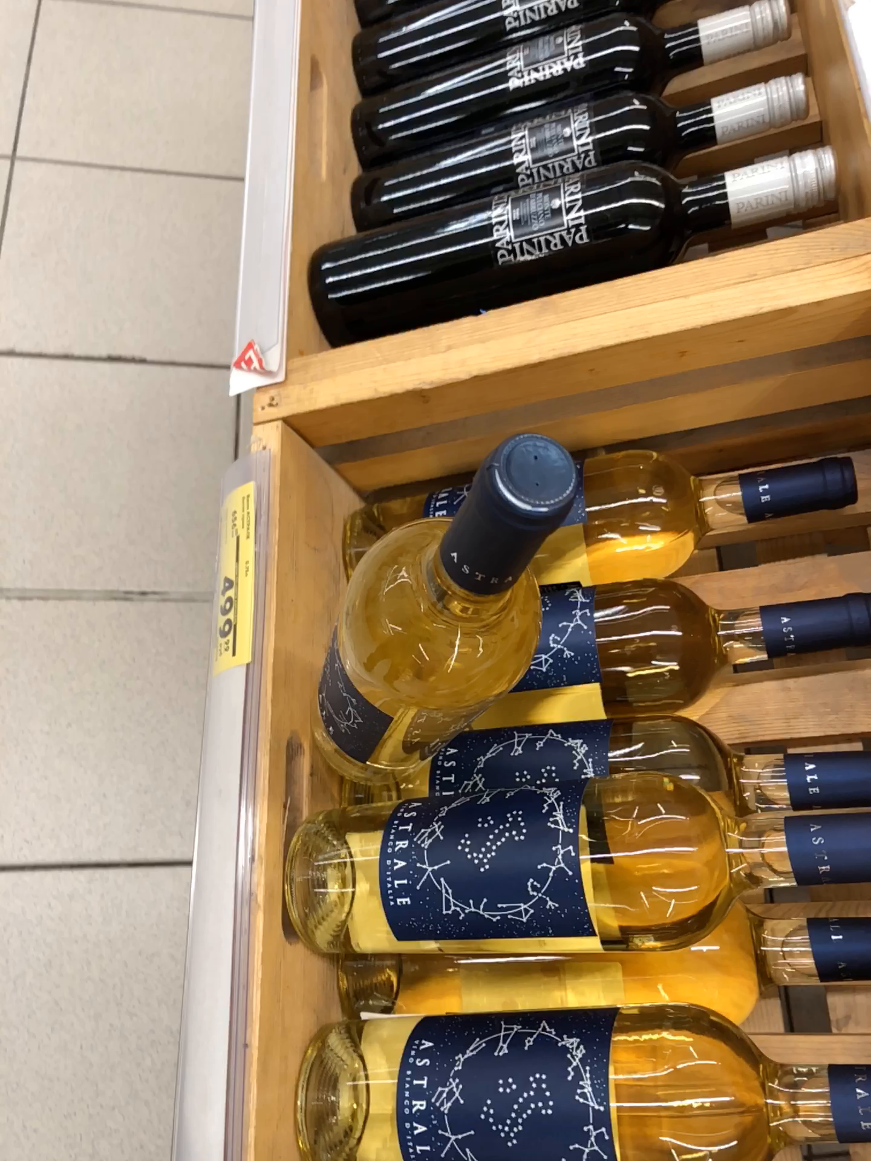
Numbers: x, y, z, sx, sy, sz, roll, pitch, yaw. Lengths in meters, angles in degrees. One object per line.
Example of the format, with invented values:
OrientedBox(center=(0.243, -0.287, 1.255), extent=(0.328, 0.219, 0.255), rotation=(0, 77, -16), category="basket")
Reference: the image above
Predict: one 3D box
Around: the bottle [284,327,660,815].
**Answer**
OrientedBox(center=(-0.006, 0.026, 0.390), extent=(0.080, 0.279, 0.090), rotation=(11, 68, -8), category="bottle")
